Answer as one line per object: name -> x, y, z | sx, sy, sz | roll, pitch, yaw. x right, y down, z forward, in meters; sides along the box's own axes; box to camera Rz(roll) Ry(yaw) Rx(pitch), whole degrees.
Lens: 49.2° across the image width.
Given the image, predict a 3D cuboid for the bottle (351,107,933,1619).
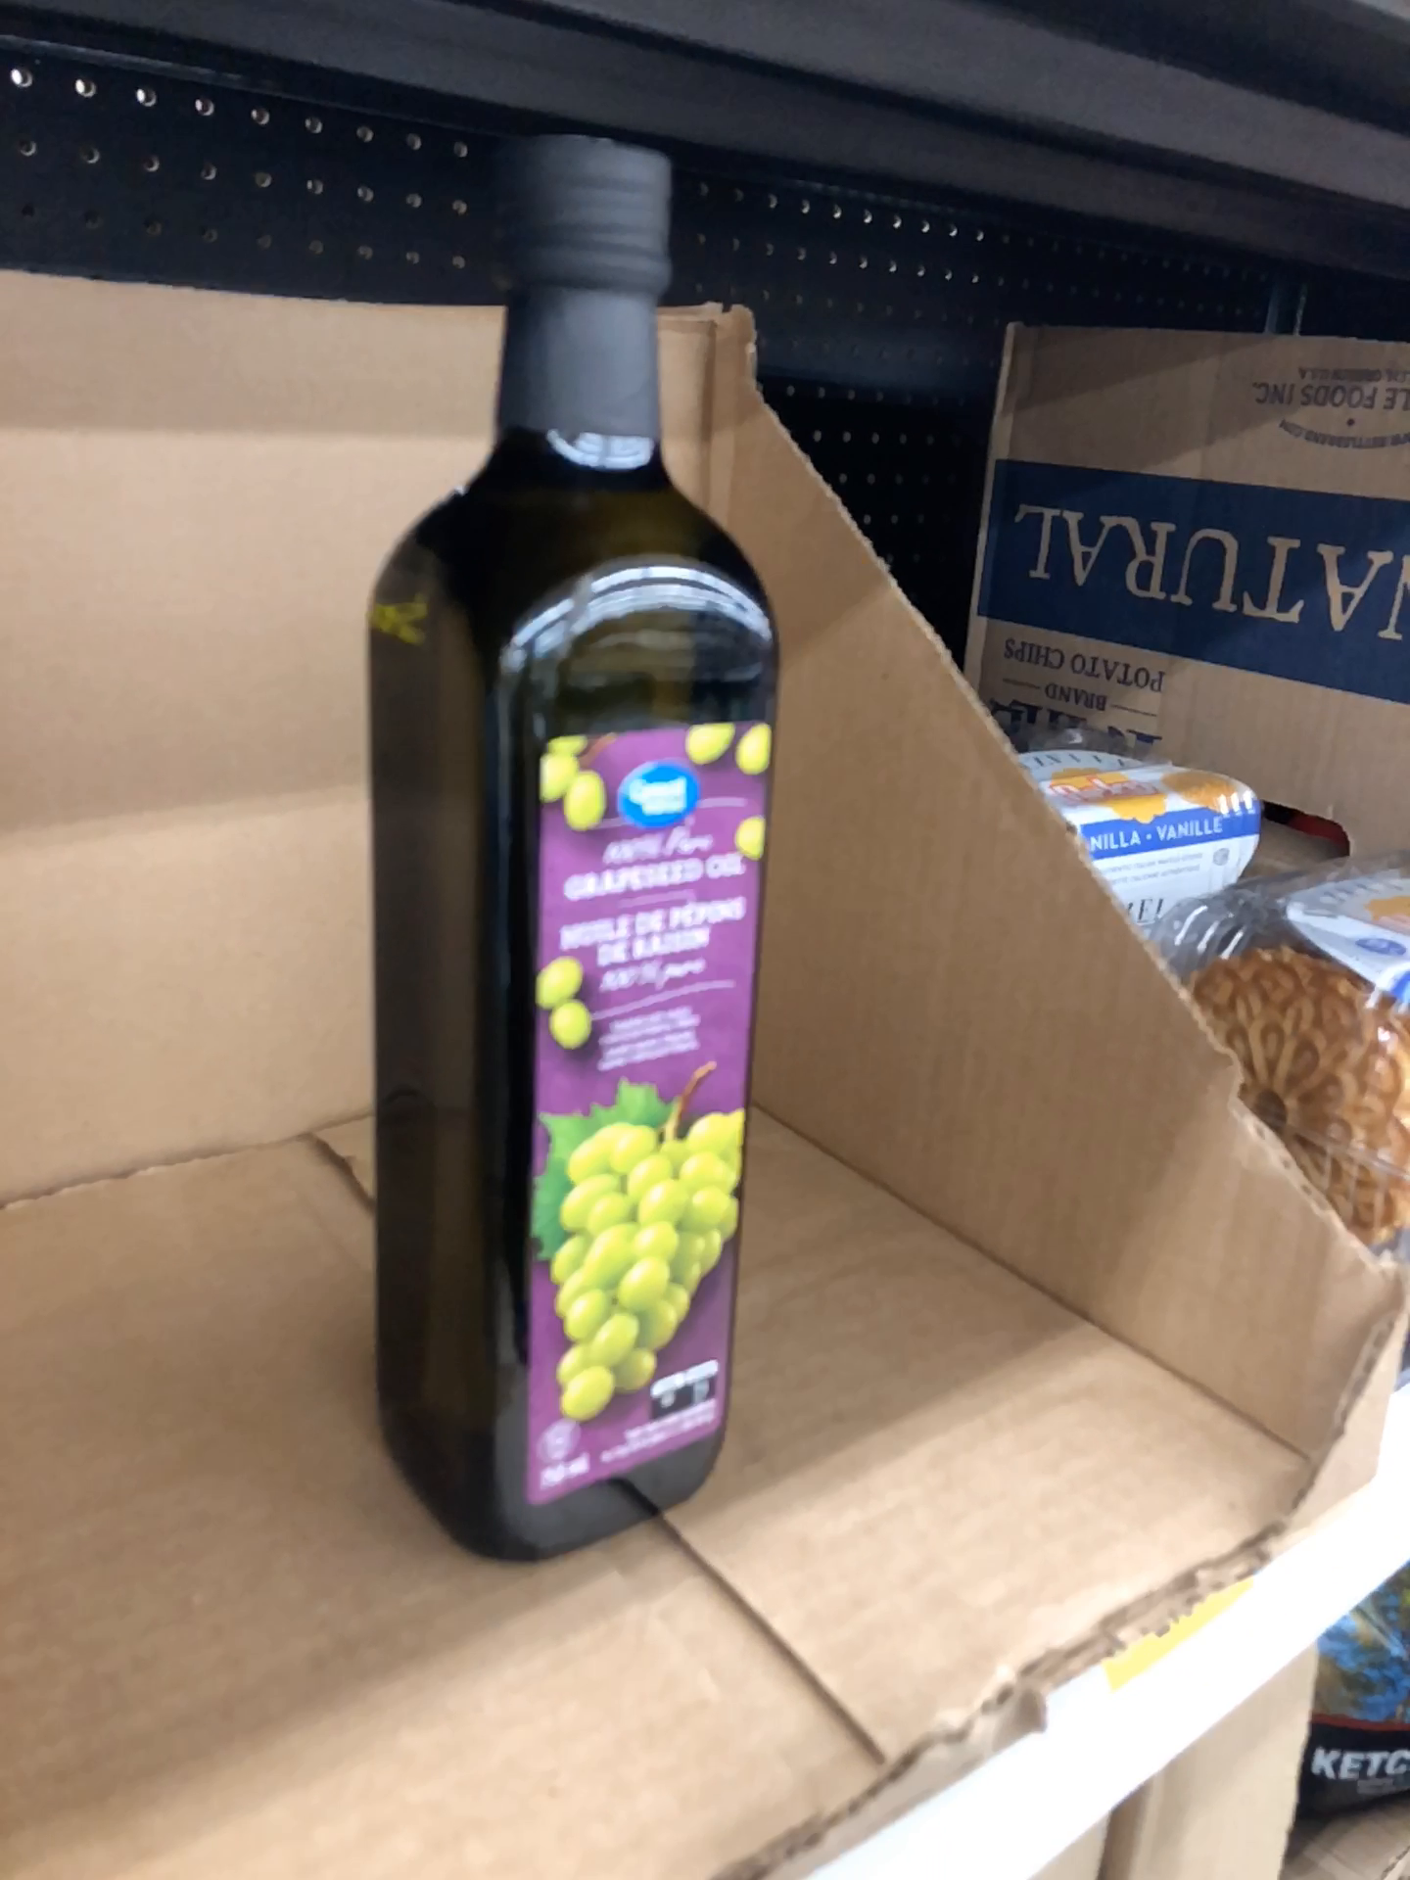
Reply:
bottle -> -0.022, -0.006, 0.314 | 0.080, 0.278, 0.060 | -10, 26, -35
